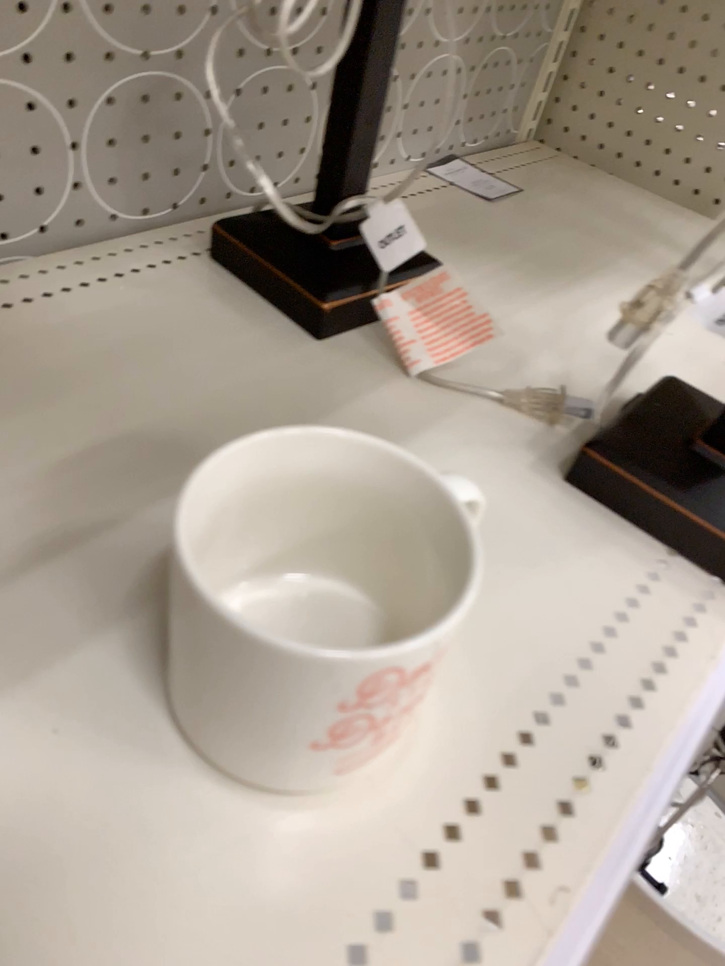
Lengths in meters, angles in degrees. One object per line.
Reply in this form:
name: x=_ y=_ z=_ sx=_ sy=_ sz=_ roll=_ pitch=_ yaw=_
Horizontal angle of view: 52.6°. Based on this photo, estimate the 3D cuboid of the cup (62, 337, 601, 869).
cup: x=-0.009 y=0.030 z=0.267 sx=0.100 sy=0.089 sz=0.151 roll=39 pitch=47 yaw=23
